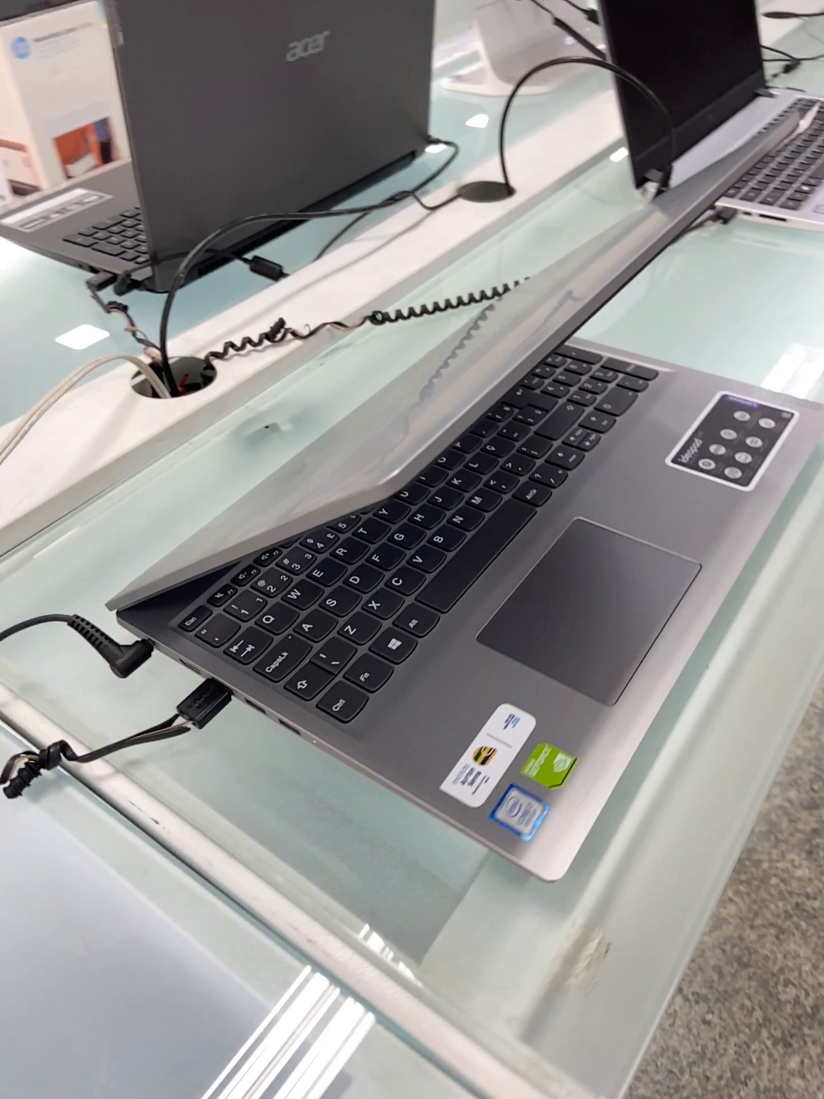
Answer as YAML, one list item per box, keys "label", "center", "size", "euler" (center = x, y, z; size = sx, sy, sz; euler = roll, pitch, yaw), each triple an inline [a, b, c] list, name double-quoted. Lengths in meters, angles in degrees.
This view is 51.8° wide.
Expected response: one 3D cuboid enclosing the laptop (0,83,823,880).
- label: "laptop"
  center: [0.052, -0.086, 0.421]
  size: [0.245, 0.160, 0.363]
  euler: [23, 48, 27]
